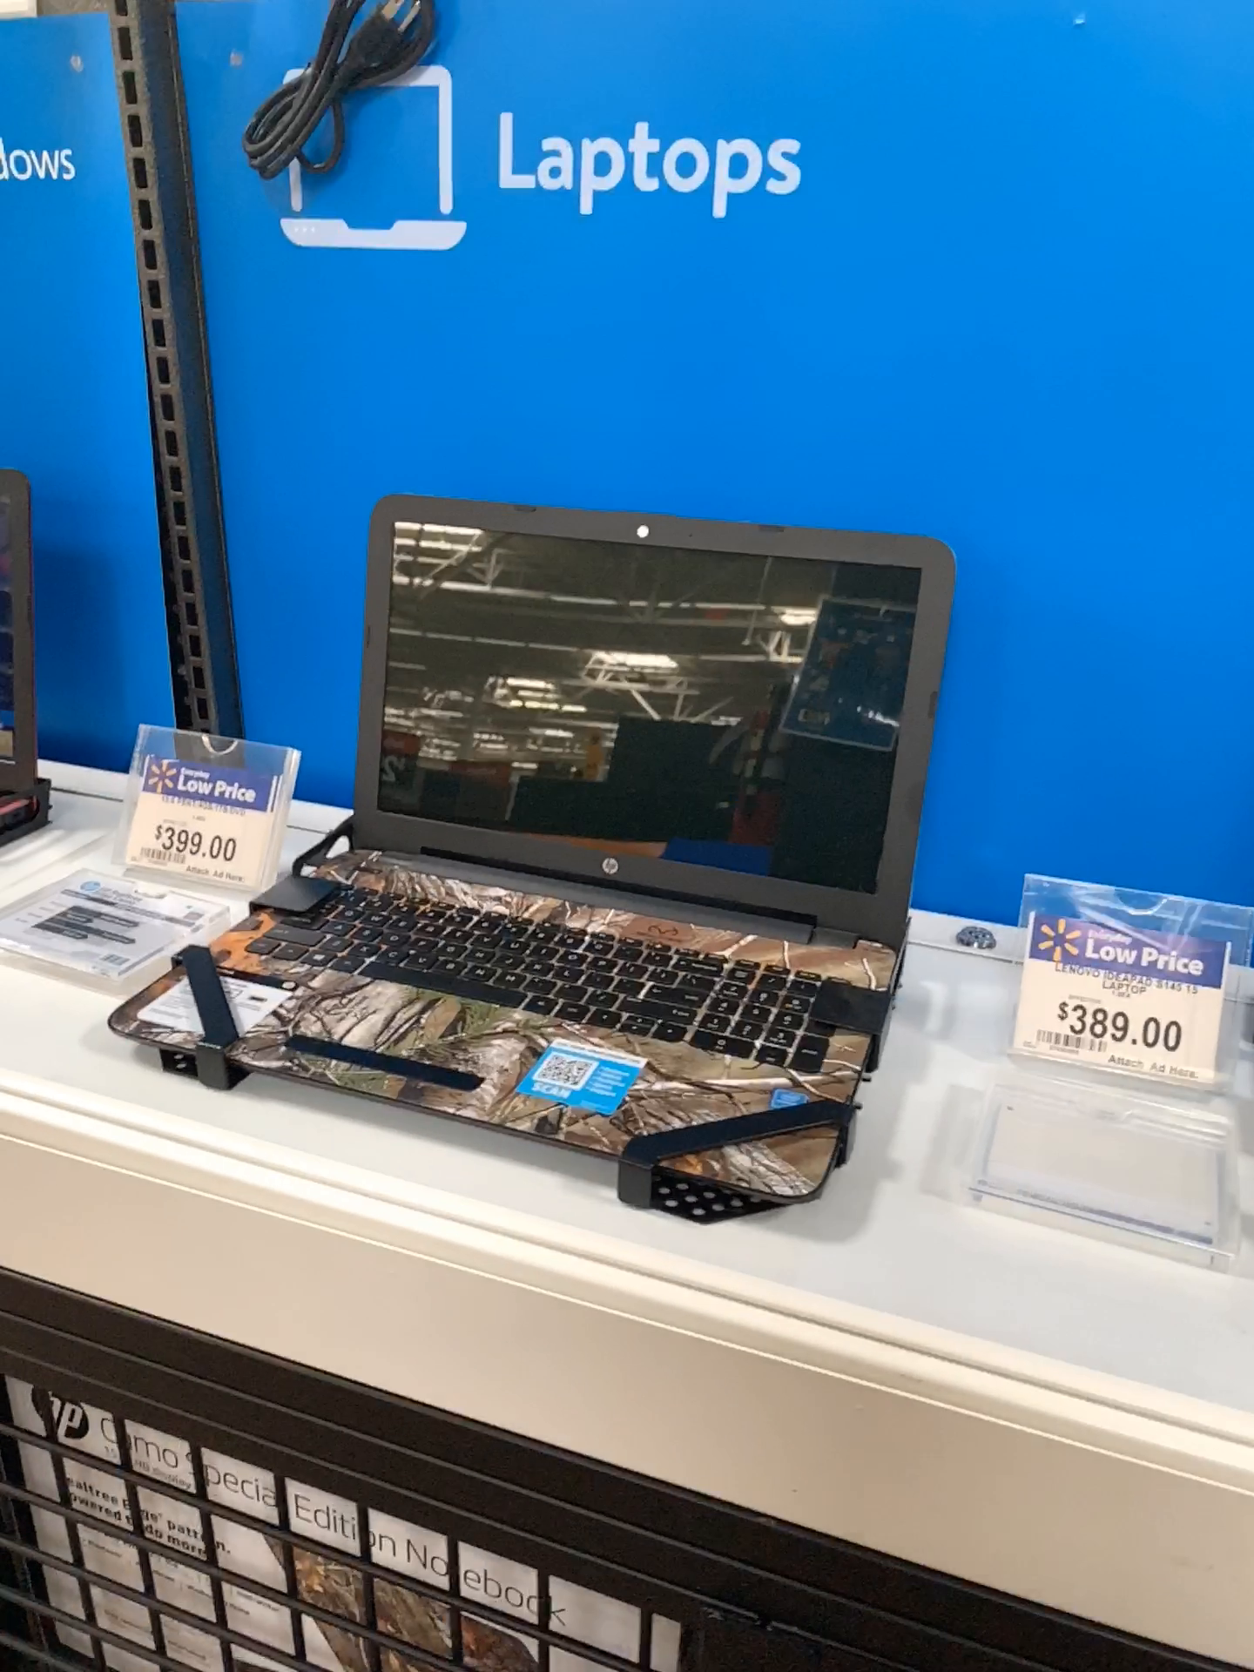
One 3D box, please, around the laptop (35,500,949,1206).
[{"bbox_3d":[-0.045,-0.032,0.696,0.374,0.227,0.304,9,24,18],"label":"laptop"}]
